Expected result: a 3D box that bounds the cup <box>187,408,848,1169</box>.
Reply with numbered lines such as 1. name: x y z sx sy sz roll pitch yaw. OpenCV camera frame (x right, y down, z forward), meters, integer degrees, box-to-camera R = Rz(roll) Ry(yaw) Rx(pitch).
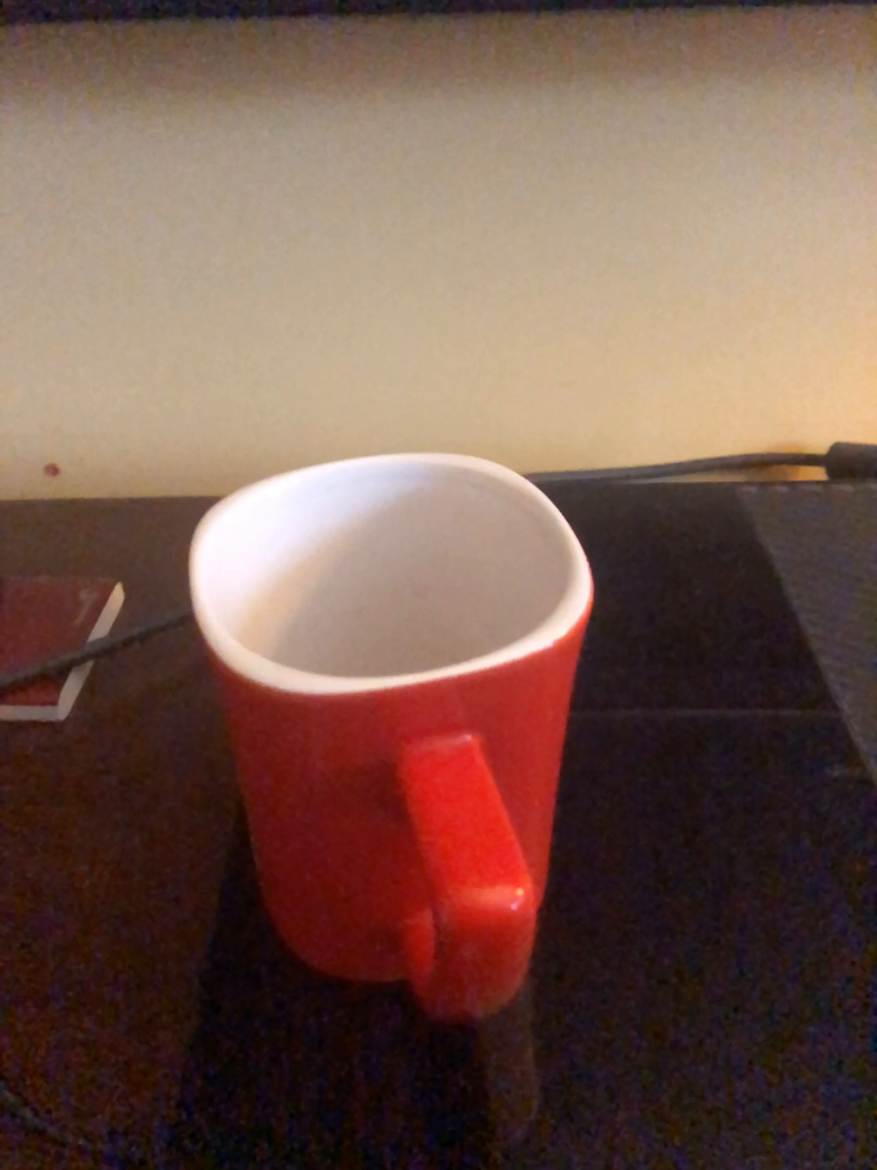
1. cup: 0.002 0.035 0.192 0.080 0.089 0.111 -10 38 -12
